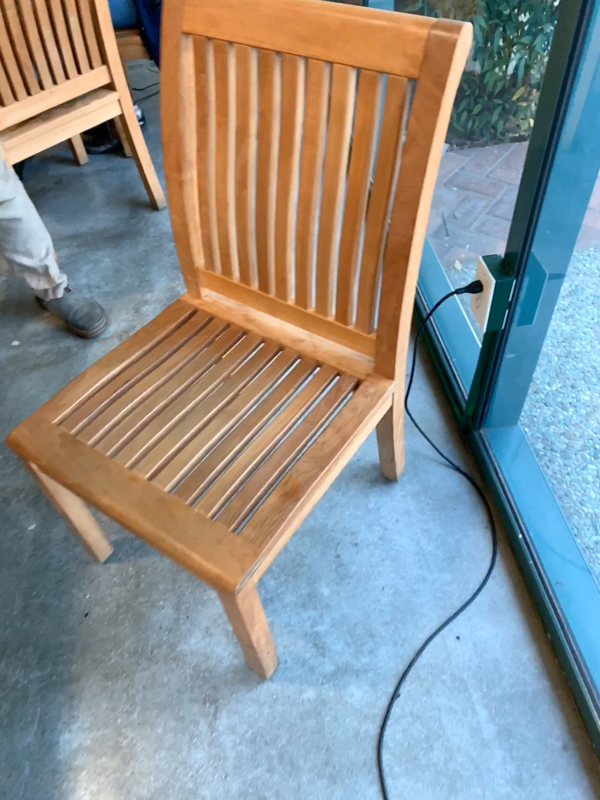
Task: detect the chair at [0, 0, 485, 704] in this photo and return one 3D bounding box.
[{"bbox_3d":[-0.149,-0.063,1.006,0.532,0.916,0.611,26,57,25],"label":"chair"}]
